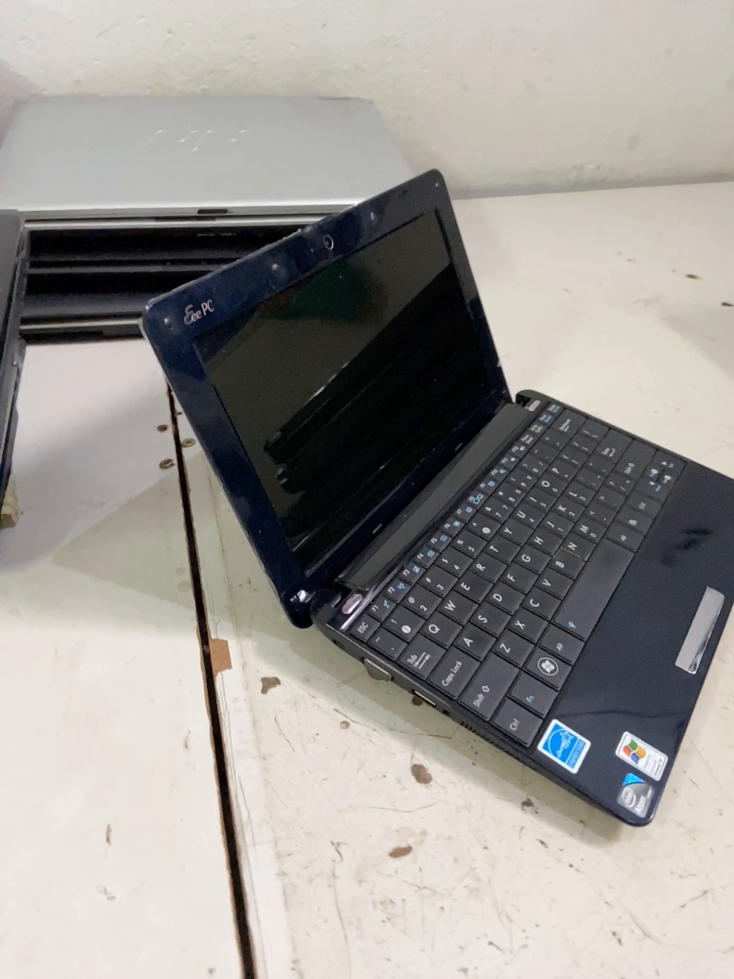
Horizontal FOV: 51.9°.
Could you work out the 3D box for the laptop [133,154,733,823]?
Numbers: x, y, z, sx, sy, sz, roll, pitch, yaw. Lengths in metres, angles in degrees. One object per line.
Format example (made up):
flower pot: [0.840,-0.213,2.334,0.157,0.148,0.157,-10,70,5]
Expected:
laptop: [0.078,-0.042,0.408,0.273,0.133,0.261,28,46,22]
